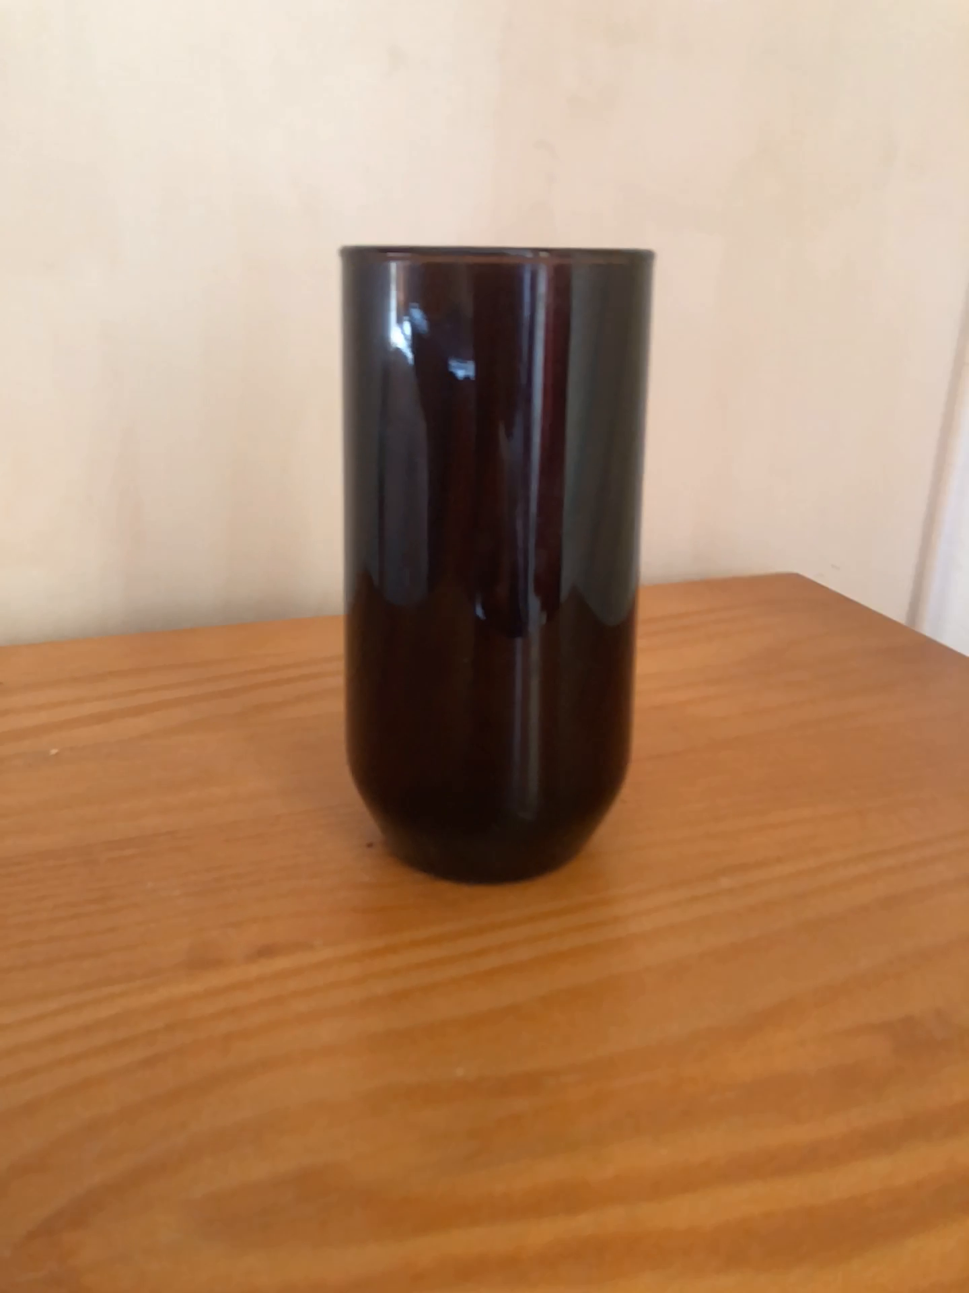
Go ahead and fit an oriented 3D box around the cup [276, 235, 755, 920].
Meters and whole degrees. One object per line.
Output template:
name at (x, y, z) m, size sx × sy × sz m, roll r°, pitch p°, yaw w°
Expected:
cup at (0.003, -0.019, 0.210) m, size 0.061 × 0.112 × 0.061 m, roll 2°, pitch 20°, yaw -1°
